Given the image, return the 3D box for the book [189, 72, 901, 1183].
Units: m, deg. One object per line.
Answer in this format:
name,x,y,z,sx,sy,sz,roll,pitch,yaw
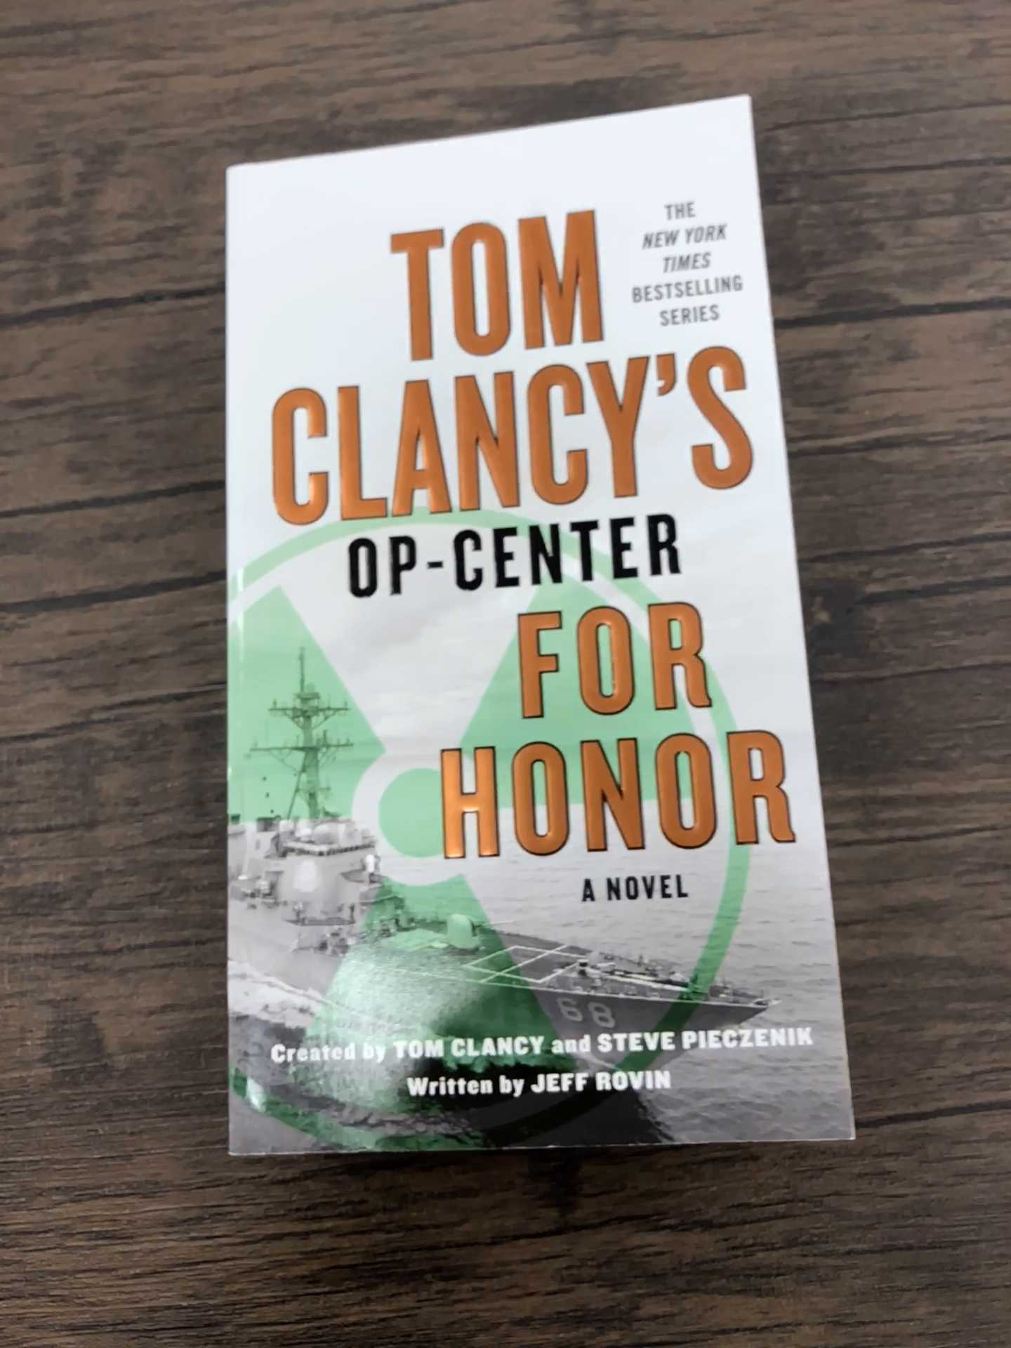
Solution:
book,0.002,-0.010,0.219,0.113,0.040,0.190,-4,79,6
